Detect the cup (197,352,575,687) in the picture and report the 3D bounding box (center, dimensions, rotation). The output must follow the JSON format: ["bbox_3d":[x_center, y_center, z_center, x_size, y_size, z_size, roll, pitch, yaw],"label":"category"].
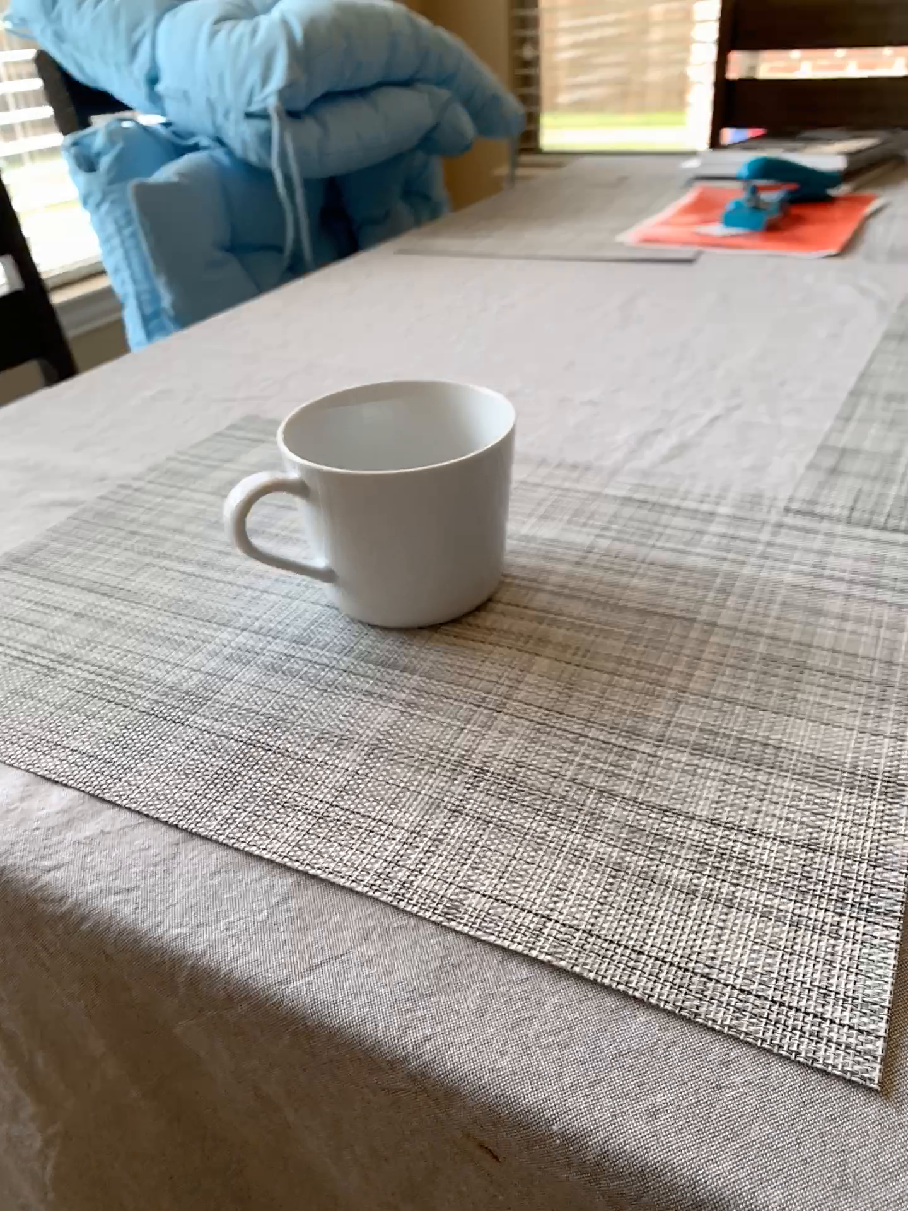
[{"bbox_3d":[-0.026,-0.045,0.412,0.121,0.081,0.100,-25,38,-30],"label":"cup"}]
